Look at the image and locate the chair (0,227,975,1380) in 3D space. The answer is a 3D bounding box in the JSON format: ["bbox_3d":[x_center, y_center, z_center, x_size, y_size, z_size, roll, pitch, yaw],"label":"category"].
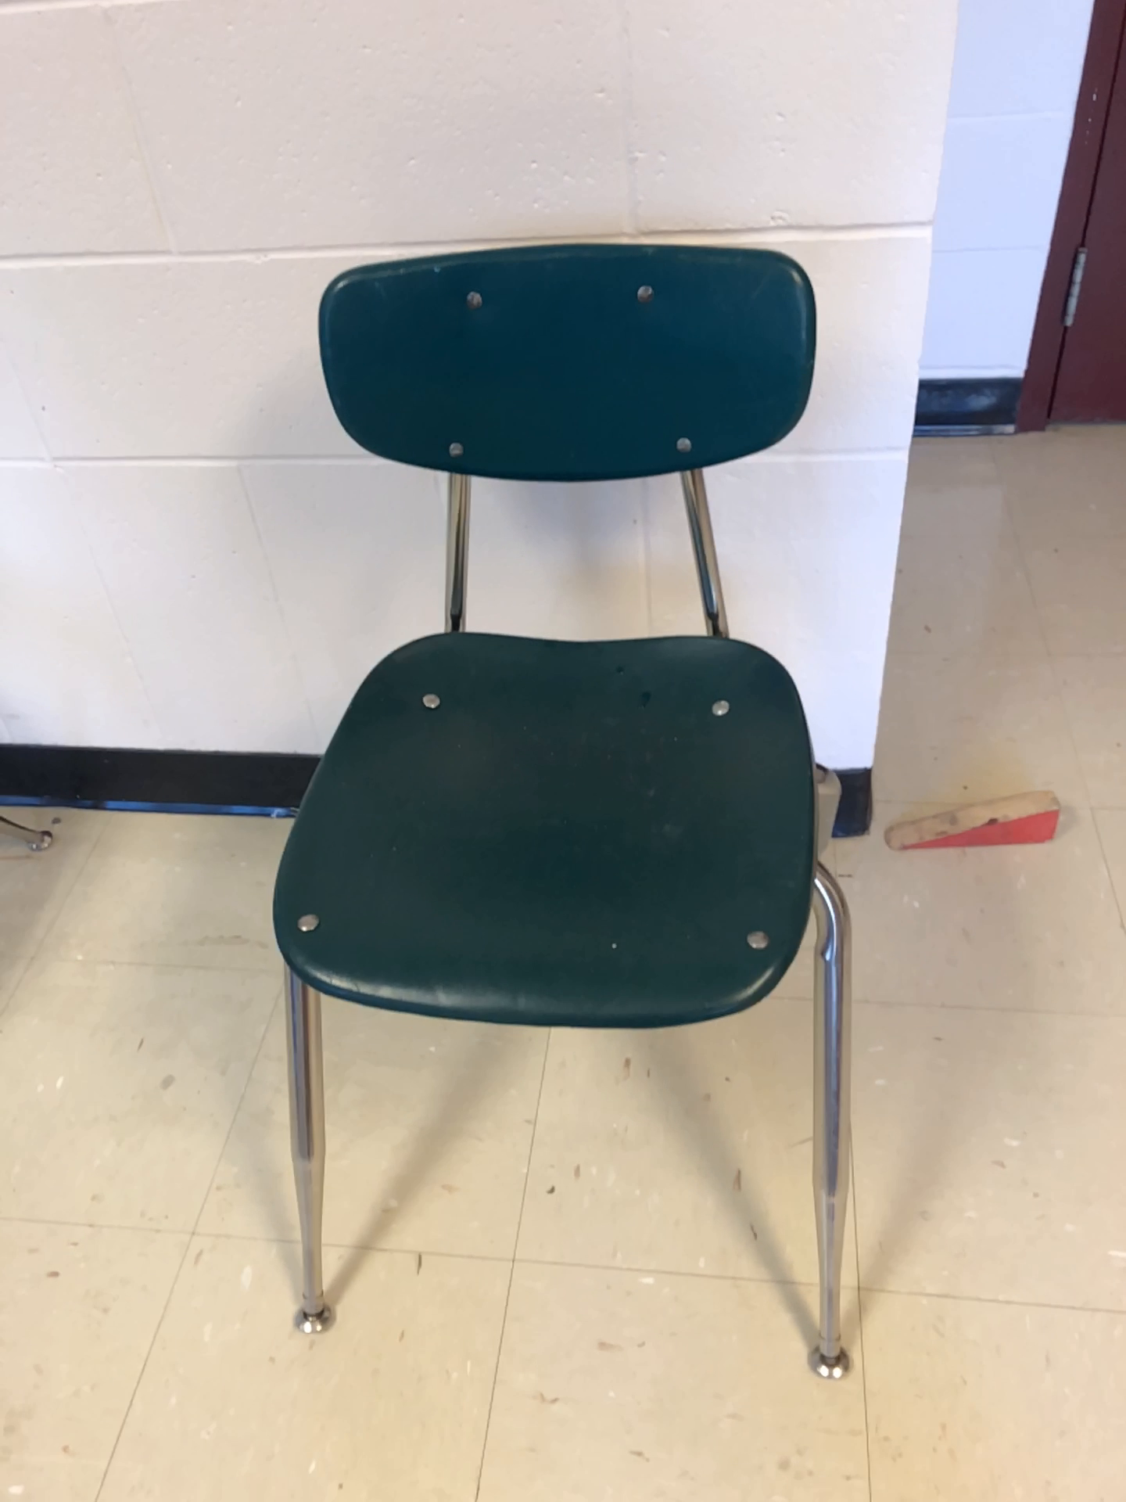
[{"bbox_3d":[0.006,0.042,1.011,0.480,0.695,0.594,1,41,9],"label":"chair"}]
